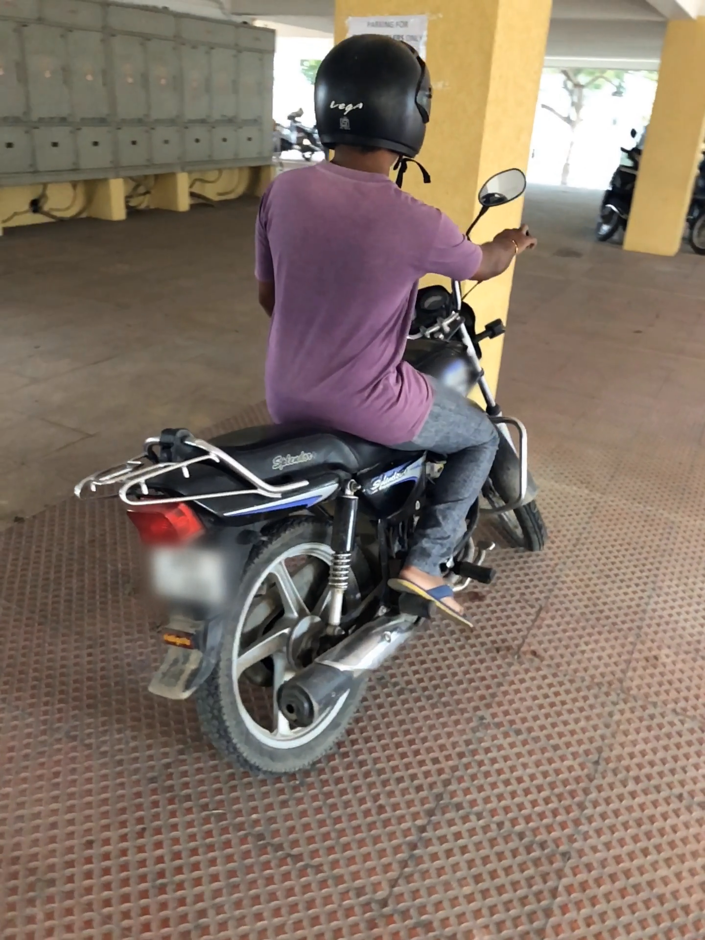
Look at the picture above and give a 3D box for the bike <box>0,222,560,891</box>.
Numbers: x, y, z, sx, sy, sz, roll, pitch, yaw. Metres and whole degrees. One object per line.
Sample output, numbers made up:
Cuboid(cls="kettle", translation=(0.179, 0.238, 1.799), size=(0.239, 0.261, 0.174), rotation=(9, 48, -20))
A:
Cuboid(cls="bike", translation=(-0.066, 0.003, 2.199), size=(0.766, 1.194, 1.549), rotation=(15, 26, 24))
